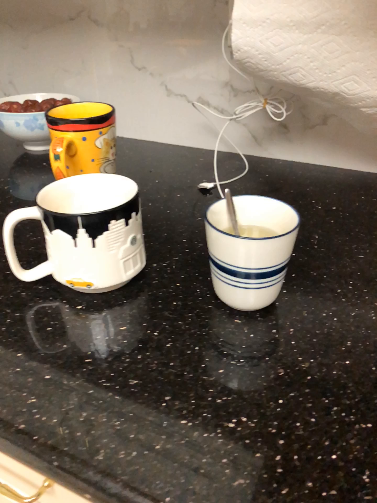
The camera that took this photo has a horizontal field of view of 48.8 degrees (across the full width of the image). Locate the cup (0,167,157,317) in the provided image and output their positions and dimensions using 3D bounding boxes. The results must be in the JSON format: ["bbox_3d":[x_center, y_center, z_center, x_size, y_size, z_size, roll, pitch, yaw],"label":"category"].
[{"bbox_3d":[-0.118,-0.017,0.451,0.140,0.099,0.111,-11,33,-15],"label":"cup"}]

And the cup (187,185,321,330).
[{"bbox_3d":[0.056,-0.001,0.427,0.100,0.080,0.141,-3,32,-4],"label":"cup"}]

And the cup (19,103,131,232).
[{"bbox_3d":[-0.140,-0.117,0.557,0.090,0.129,0.131,3,32,5],"label":"cup"}]
